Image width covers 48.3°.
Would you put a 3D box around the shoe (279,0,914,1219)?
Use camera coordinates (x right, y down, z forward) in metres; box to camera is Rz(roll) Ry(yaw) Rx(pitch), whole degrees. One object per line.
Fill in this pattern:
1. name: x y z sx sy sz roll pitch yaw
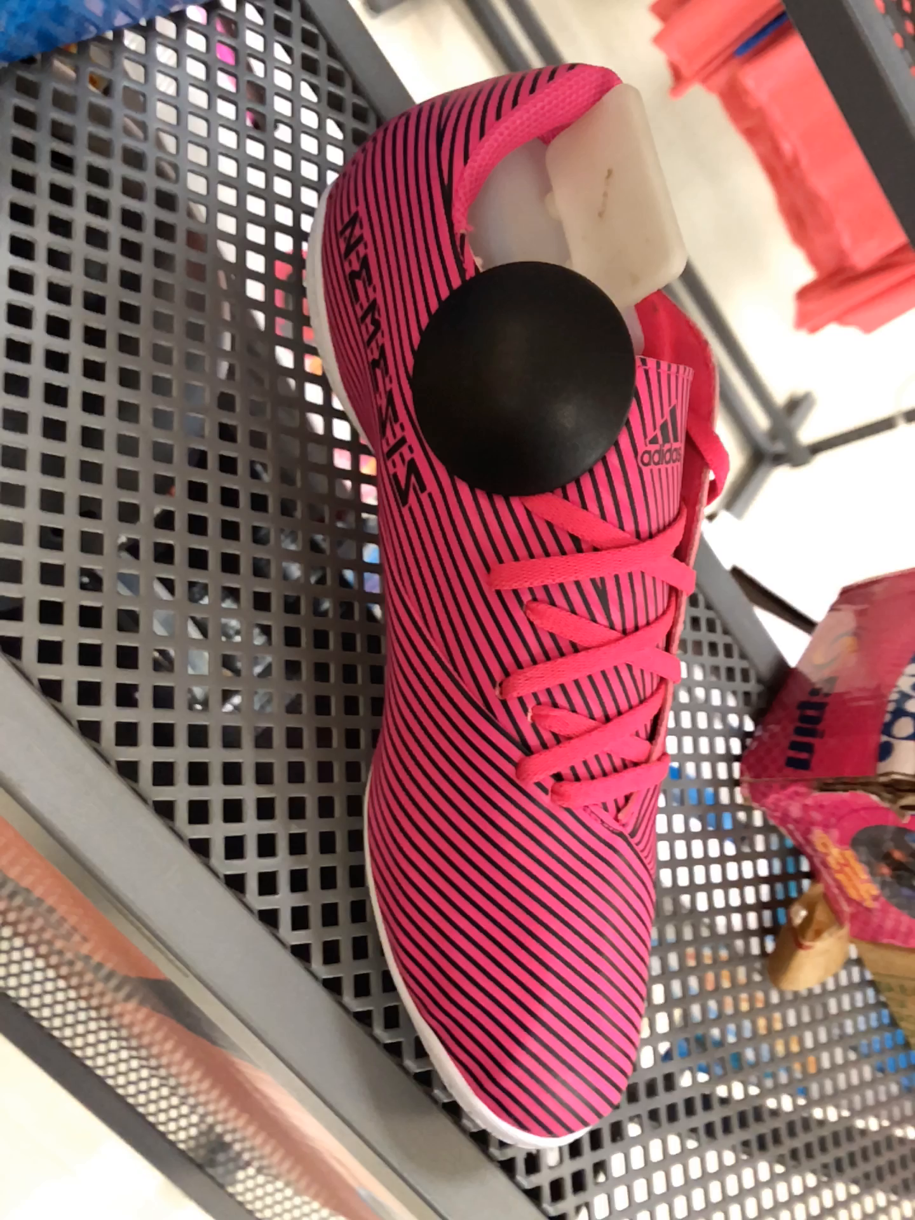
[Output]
1. shoe: 0.031 0.003 0.256 0.096 0.099 0.260 1 79 -38
